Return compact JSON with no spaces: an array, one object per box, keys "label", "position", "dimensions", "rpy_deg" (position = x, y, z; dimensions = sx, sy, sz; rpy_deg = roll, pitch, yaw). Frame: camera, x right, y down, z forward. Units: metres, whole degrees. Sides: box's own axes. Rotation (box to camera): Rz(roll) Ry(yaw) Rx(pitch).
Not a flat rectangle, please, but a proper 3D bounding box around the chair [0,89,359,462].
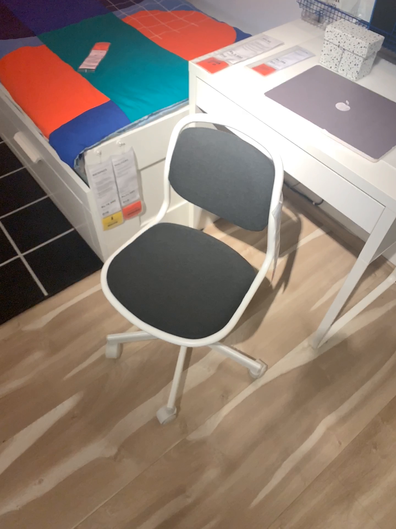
[{"label":"chair","position":[-0.018,0.039,1.138],"dimensions":[0.550,0.658,0.621],"rpy_deg":[25,57,17]}]
